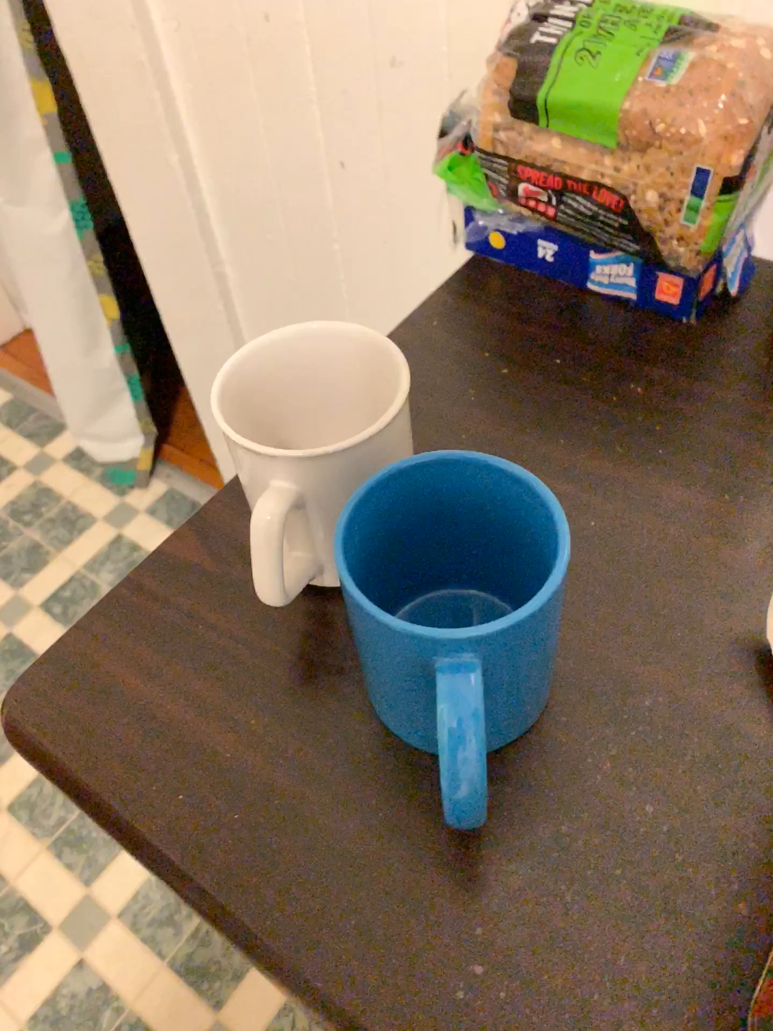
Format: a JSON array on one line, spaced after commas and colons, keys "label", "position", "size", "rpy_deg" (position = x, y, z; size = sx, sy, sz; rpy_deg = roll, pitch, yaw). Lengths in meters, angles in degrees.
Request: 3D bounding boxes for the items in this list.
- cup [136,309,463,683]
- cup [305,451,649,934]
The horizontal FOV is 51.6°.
[{"label": "cup", "position": [-0.026, -0.012, 0.350], "size": [0.090, 0.090, 0.120], "rpy_deg": [11, 53, 16]}, {"label": "cup", "position": [0.032, 0.062, 0.293], "size": [0.090, 0.100, 0.140], "rpy_deg": [0, 51, 7]}]
